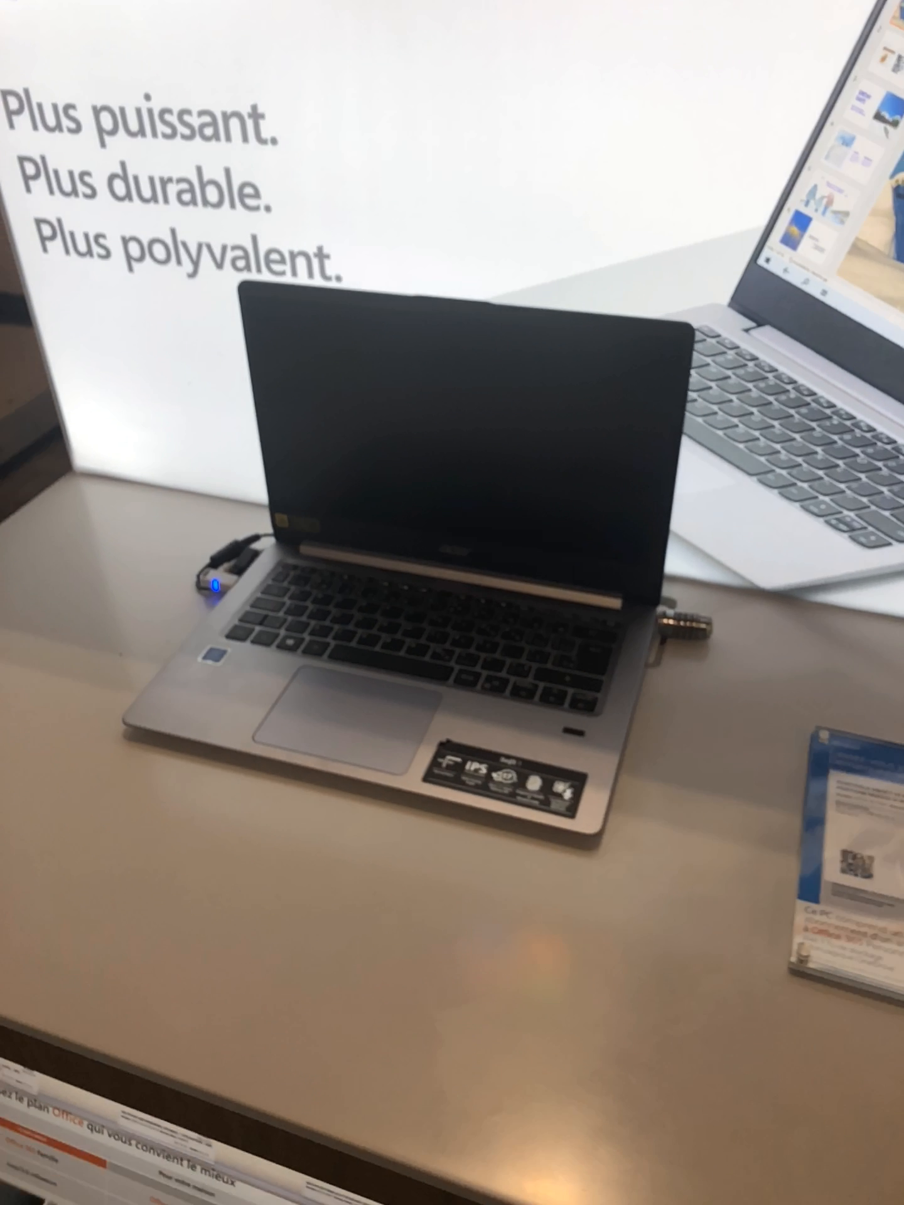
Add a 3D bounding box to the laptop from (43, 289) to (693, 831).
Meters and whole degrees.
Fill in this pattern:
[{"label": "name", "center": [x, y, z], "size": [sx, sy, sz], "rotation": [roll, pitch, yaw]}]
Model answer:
[{"label": "laptop", "center": [-0.032, -0.045, 0.636], "size": [0.311, 0.210, 0.227], "rotation": [10, 38, 16]}]
